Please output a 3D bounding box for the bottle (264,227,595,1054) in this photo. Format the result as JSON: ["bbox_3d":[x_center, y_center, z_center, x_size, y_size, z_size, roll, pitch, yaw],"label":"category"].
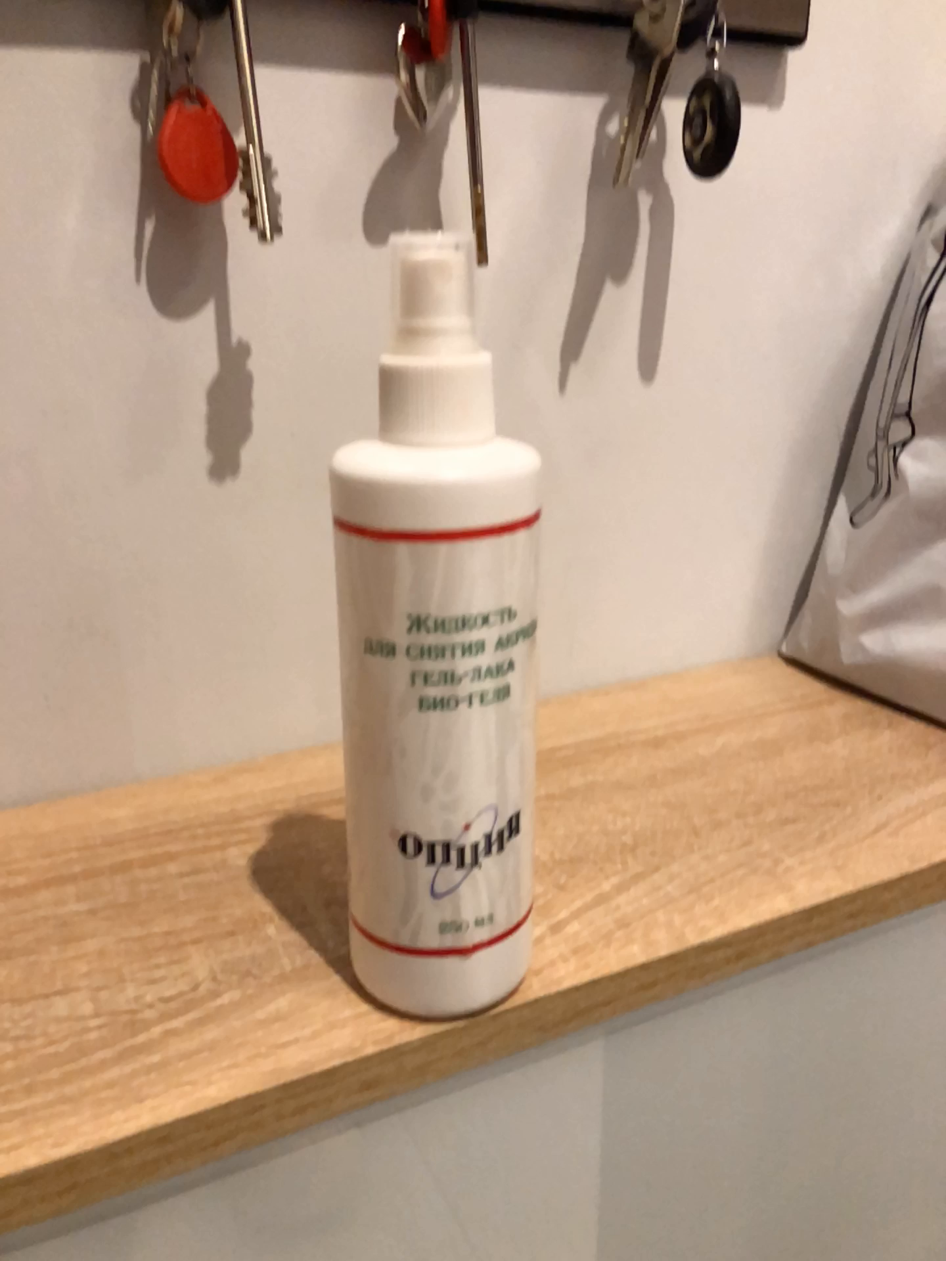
[{"bbox_3d":[-0.012,0.001,0.253,0.056,0.183,0.060,0,18,0],"label":"bottle"}]
